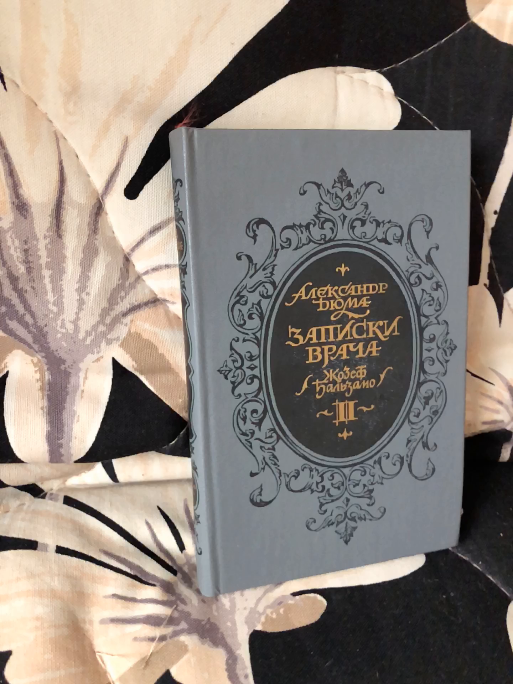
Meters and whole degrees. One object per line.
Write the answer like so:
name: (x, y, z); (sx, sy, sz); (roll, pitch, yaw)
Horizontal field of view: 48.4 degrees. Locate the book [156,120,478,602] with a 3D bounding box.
book: (0.033, 0.007, 0.270); (0.140, 0.030, 0.206); (-6, 100, -14)
